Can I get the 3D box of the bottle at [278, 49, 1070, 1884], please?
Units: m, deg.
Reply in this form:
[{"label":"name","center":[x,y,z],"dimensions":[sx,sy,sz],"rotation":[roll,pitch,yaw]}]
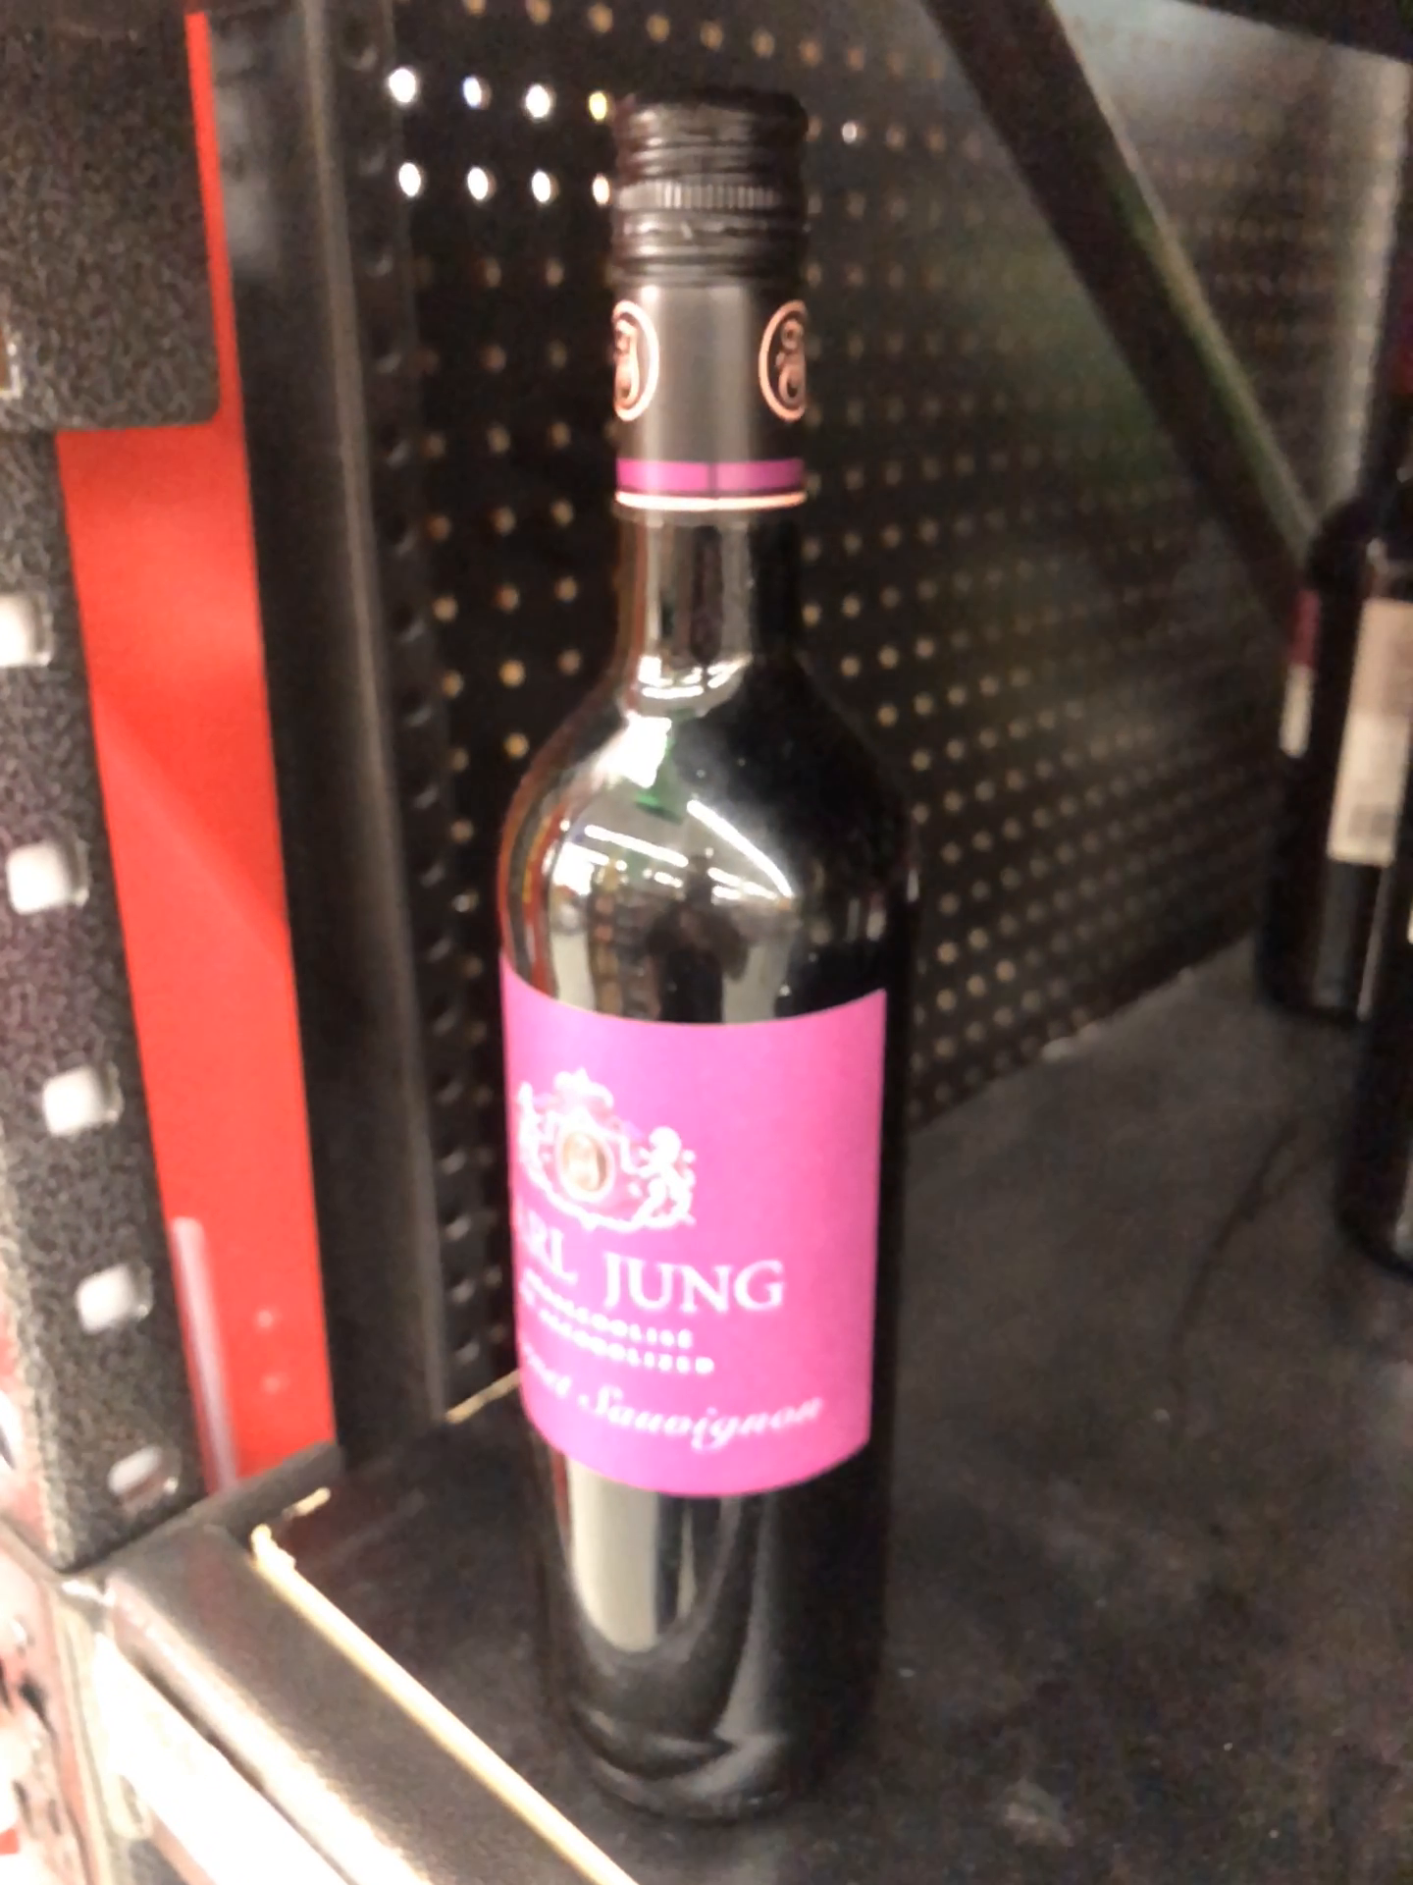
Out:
[{"label":"bottle","center":[0.000,0.017,0.276],"dimensions":[0.080,0.288,0.080],"rotation":[-1,21,0]}]
